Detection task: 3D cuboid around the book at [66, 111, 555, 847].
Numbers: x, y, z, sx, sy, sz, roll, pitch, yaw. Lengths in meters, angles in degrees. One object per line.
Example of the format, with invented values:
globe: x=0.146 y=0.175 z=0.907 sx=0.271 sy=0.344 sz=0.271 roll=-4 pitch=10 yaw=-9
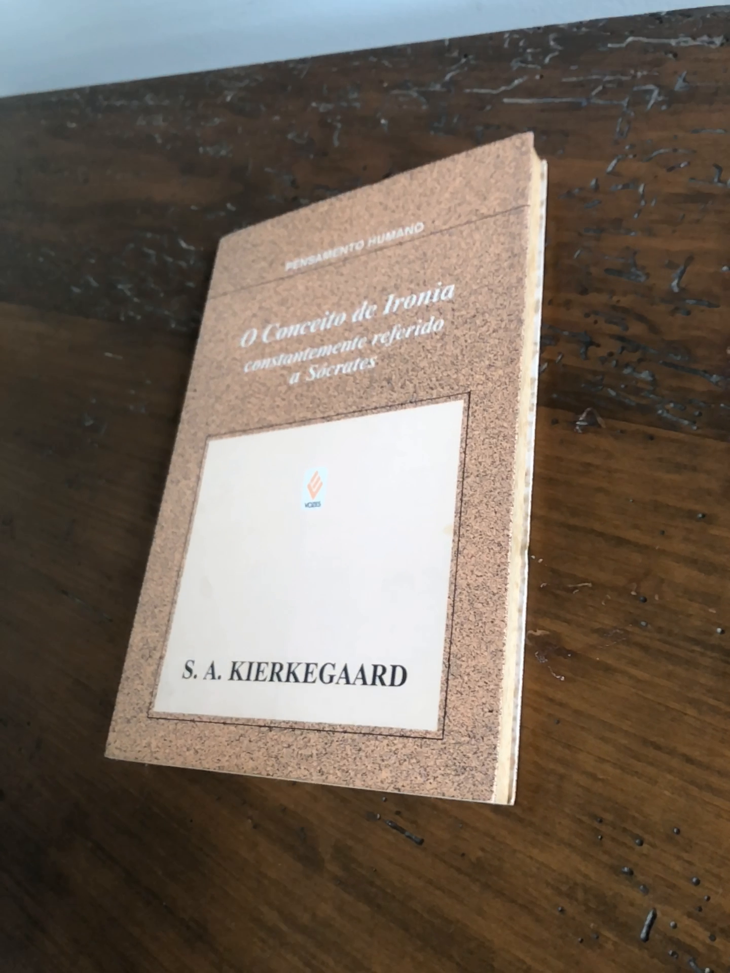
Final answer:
book: x=-0.015 y=-0.010 z=0.273 sx=0.145 sy=0.024 sz=0.220 roll=-6 pitch=65 yaw=31
